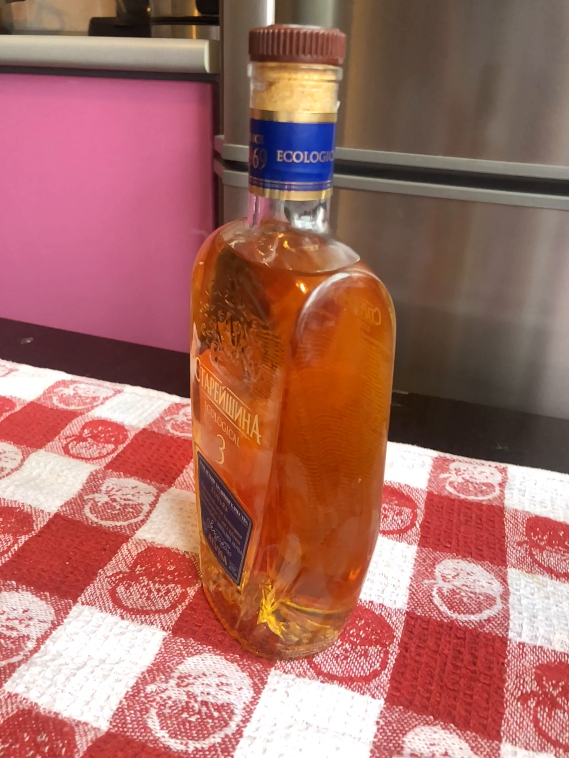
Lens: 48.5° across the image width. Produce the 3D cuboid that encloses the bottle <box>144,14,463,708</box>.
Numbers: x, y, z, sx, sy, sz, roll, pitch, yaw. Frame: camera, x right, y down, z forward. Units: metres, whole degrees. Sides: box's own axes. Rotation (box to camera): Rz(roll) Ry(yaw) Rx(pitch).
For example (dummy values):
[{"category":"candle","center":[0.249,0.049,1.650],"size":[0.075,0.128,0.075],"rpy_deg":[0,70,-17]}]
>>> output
[{"category":"bottle","center":[-0.008,-0.006,0.236],"size":[0.050,0.219,0.110],"rpy_deg":[-10,29,-24]}]
